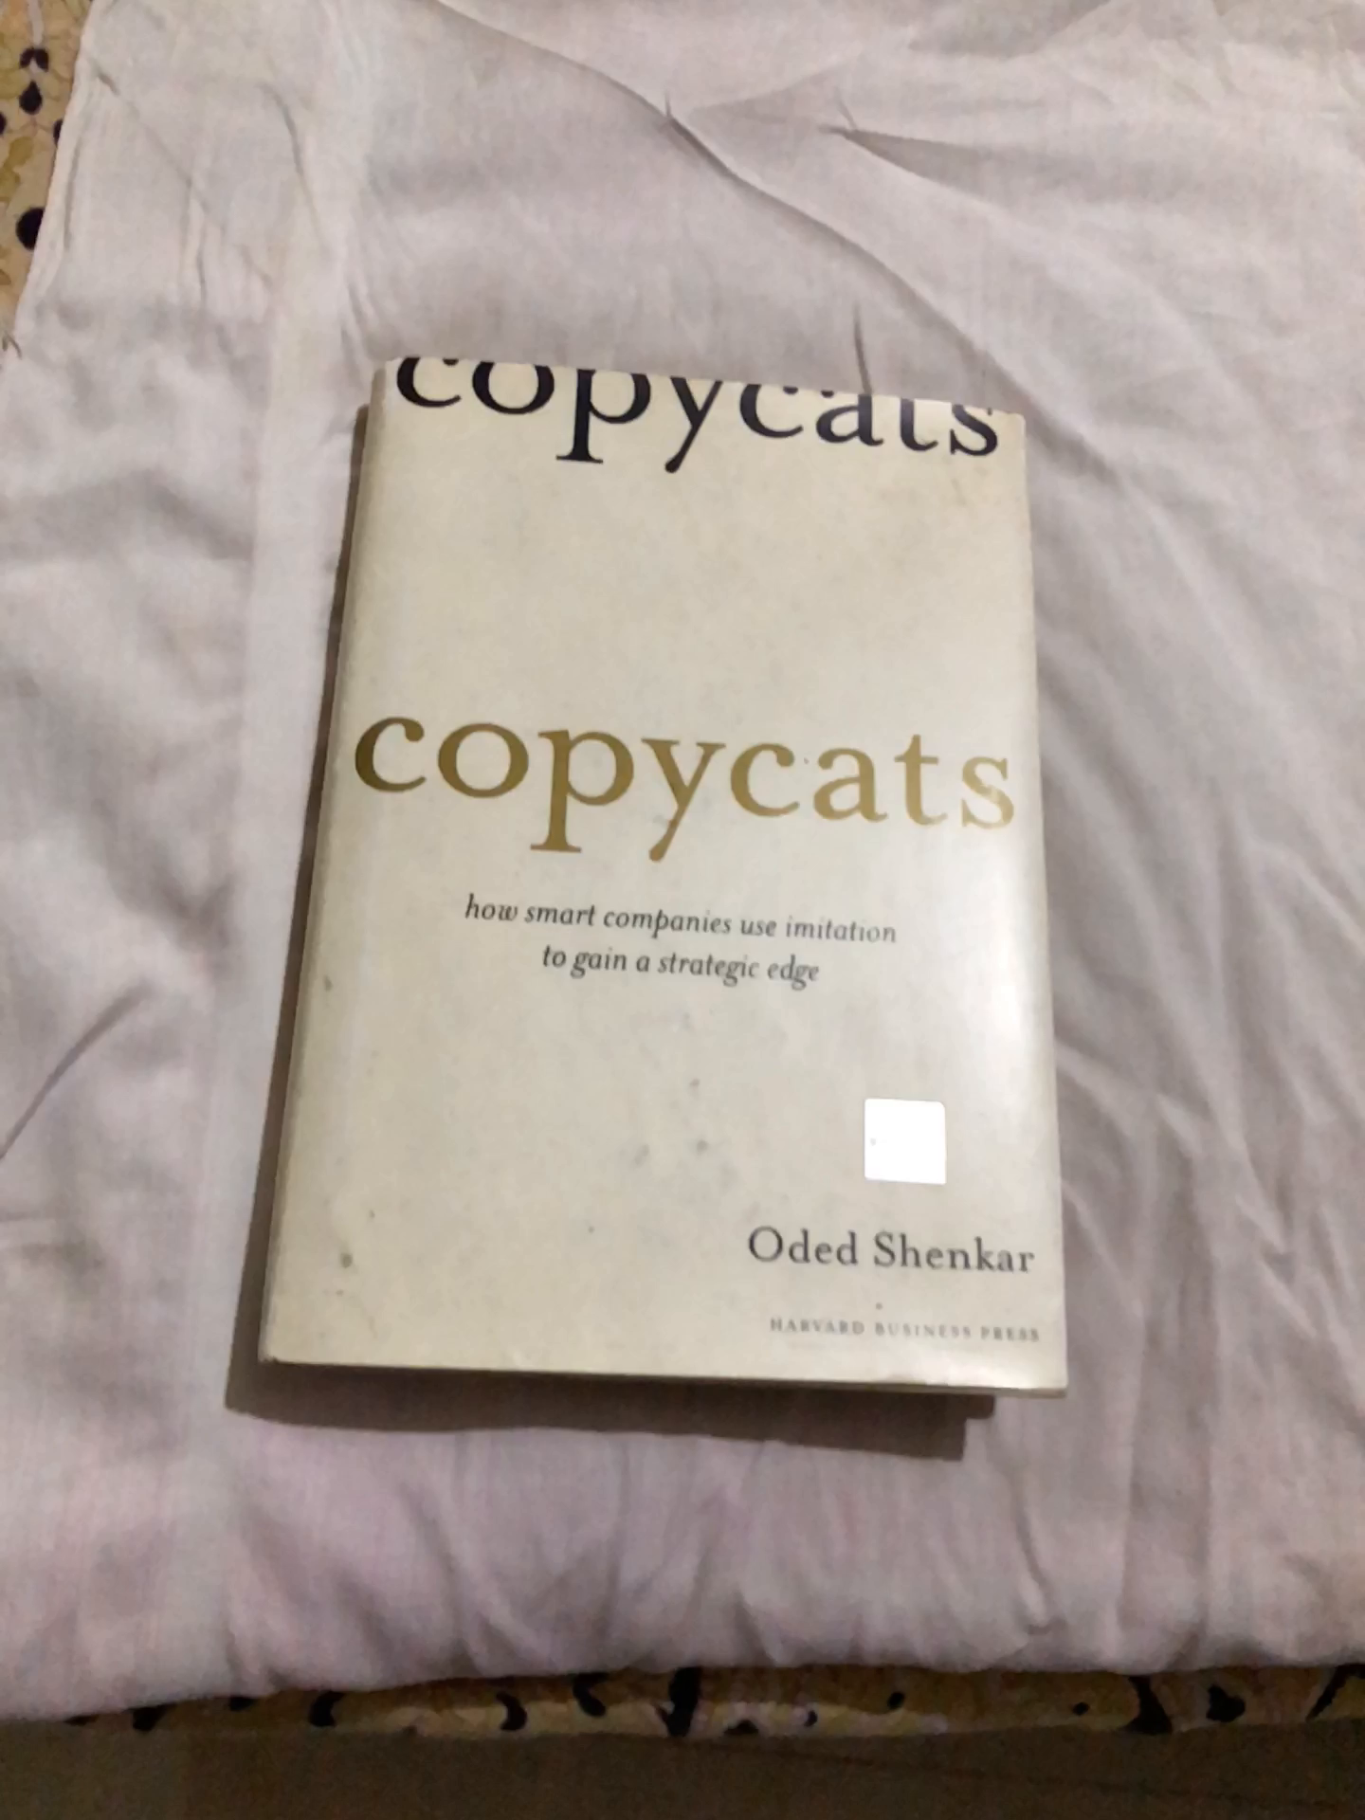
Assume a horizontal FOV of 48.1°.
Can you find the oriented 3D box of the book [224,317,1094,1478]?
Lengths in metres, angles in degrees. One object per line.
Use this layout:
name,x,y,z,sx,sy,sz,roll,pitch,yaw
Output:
book,0.003,-0.009,0.319,0.150,0.040,0.230,5,71,-2
